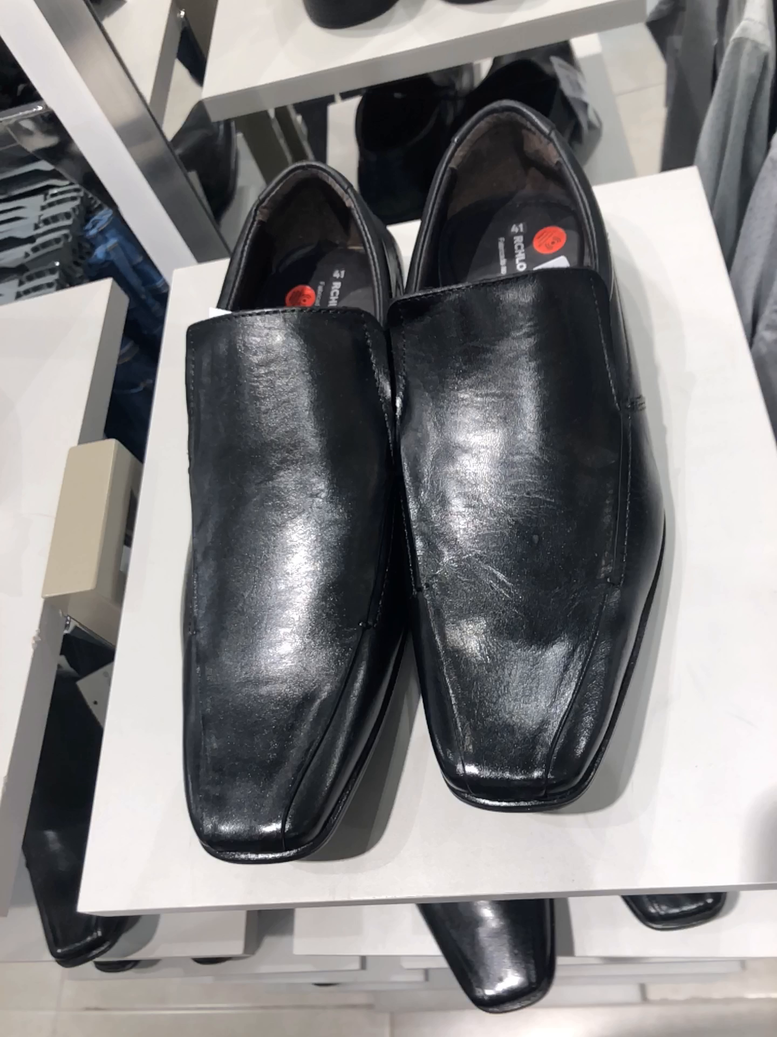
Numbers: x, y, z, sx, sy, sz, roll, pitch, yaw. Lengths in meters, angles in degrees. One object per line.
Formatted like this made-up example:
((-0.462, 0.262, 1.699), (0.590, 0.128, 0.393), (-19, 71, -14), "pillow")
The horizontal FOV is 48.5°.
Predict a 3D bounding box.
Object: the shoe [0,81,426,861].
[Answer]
((-0.052, -0.028, 0.352), (0.110, 0.100, 0.301), (-6, 59, 15), "shoe")

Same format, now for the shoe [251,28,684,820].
((0.035, -0.042, 0.327), (0.110, 0.100, 0.281), (-6, 59, 15), "shoe")
